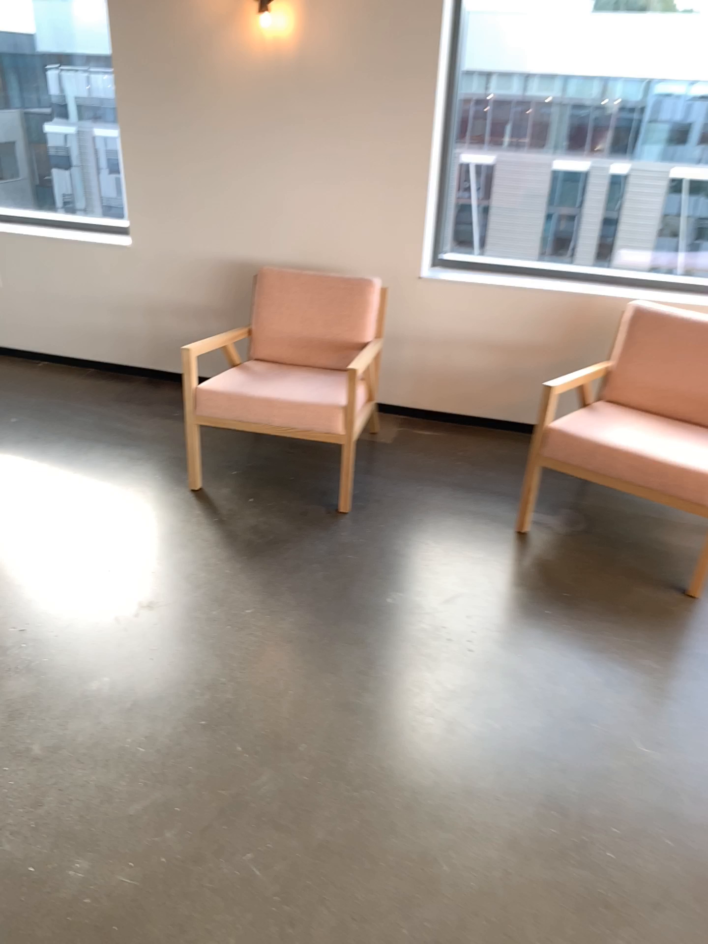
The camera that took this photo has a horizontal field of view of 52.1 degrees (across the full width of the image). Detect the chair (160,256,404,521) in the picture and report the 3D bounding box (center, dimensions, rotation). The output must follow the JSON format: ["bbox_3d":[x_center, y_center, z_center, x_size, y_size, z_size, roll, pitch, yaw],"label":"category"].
[{"bbox_3d":[-0.258,-0.392,3.053,0.741,0.795,0.774,9,29,12],"label":"chair"}]

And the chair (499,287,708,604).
[{"bbox_3d":[1.102,-0.163,2.695,0.742,0.795,0.772,20,31,30],"label":"chair"}]
